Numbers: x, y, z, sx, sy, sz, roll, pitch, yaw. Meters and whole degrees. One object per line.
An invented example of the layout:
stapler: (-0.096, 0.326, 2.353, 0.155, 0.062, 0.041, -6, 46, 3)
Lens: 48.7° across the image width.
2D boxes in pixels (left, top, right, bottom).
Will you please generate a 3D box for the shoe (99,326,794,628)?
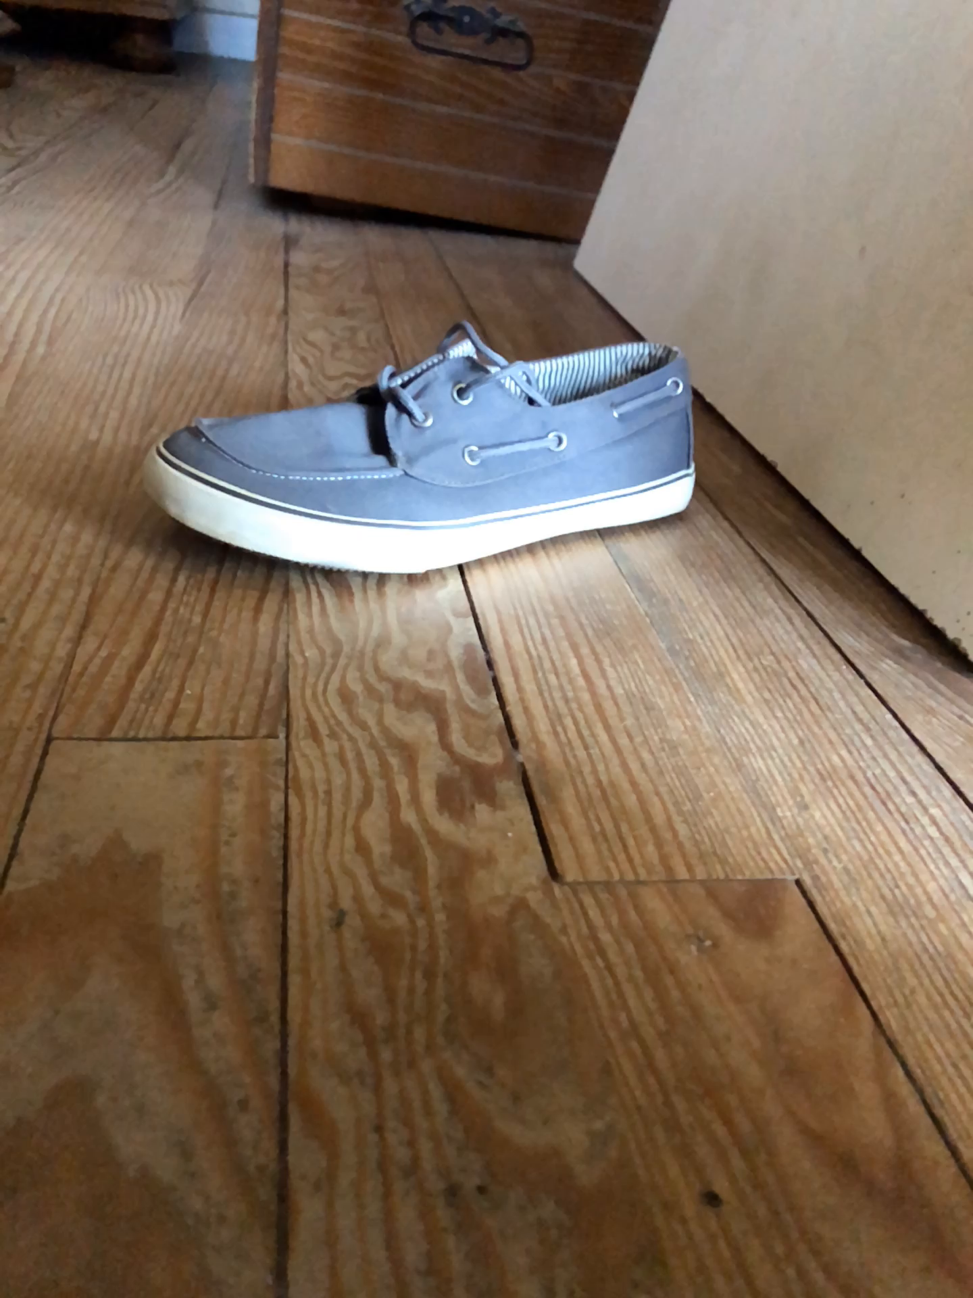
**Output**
shoe: (-0.008, -0.085, 0.453, 0.271, 0.060, 0.100, -14, 36, -30)
